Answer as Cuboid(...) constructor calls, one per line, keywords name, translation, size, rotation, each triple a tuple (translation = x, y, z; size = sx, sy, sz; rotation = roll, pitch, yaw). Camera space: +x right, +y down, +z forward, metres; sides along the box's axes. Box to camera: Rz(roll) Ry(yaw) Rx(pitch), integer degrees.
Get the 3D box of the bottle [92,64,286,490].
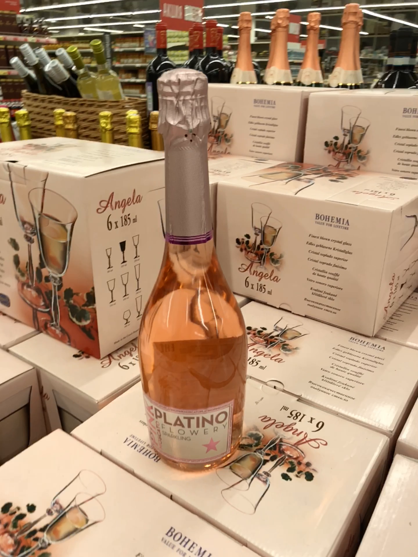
Cuboid(name="bottle", translation=(-0.007, 0.002, 0.362), size=(0.100, 0.308, 0.100), rotation=(0, 24, 0))
